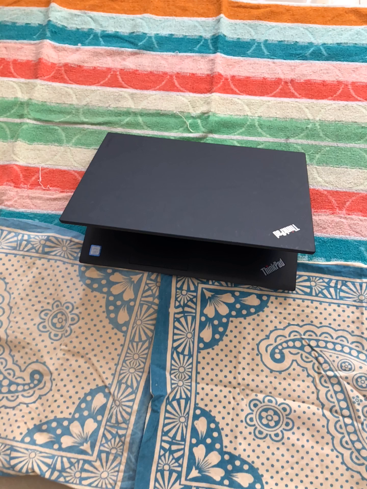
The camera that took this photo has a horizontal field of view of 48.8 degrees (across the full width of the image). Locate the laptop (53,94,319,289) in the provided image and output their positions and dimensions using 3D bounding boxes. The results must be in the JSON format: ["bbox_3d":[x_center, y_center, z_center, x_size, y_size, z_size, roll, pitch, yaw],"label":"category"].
[{"bbox_3d":[0.017,-0.081,0.637,0.345,0.122,0.243,7,72,3],"label":"laptop"}]
